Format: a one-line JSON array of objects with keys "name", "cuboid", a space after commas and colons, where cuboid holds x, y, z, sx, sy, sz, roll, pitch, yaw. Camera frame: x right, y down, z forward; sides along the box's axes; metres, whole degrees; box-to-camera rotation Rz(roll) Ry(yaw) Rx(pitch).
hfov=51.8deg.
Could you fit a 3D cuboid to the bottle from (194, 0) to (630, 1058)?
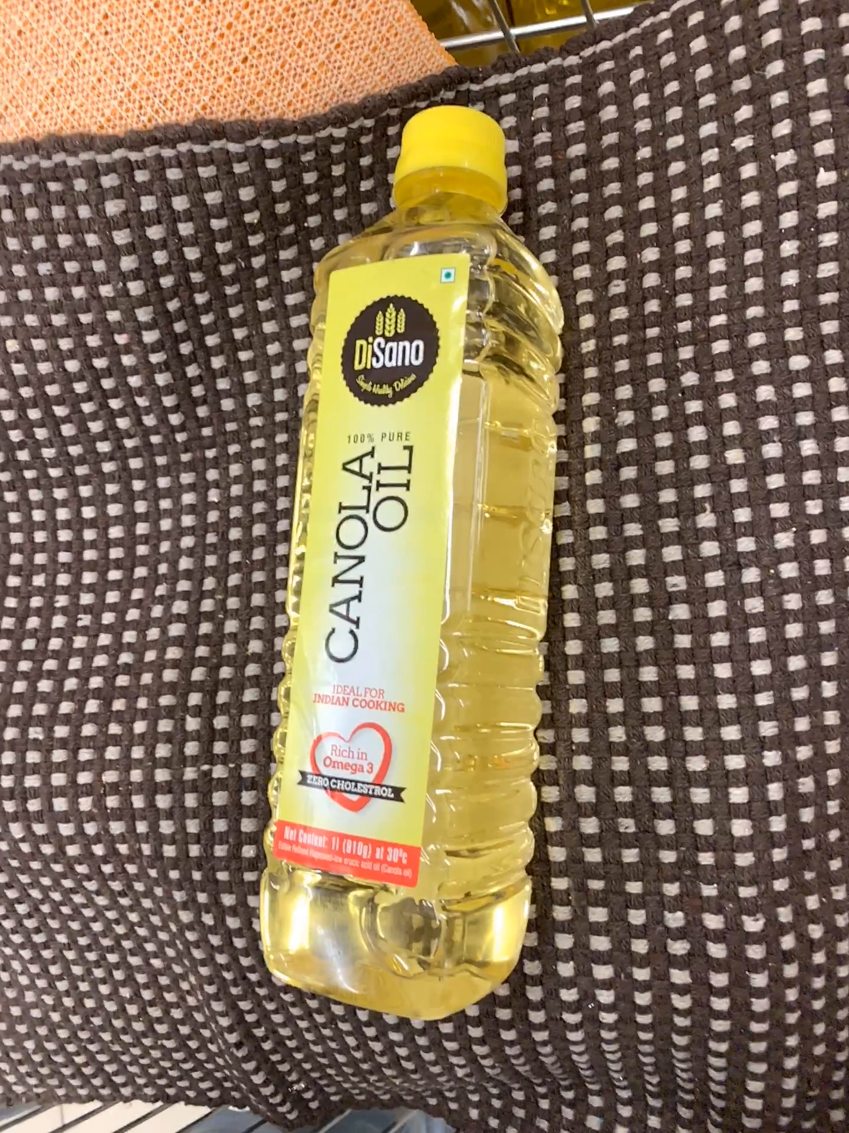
[{"name": "bottle", "cuboid": [0.003, -0.024, 0.228, 0.070, 0.060, 0.250, 2, 83, 28]}]
